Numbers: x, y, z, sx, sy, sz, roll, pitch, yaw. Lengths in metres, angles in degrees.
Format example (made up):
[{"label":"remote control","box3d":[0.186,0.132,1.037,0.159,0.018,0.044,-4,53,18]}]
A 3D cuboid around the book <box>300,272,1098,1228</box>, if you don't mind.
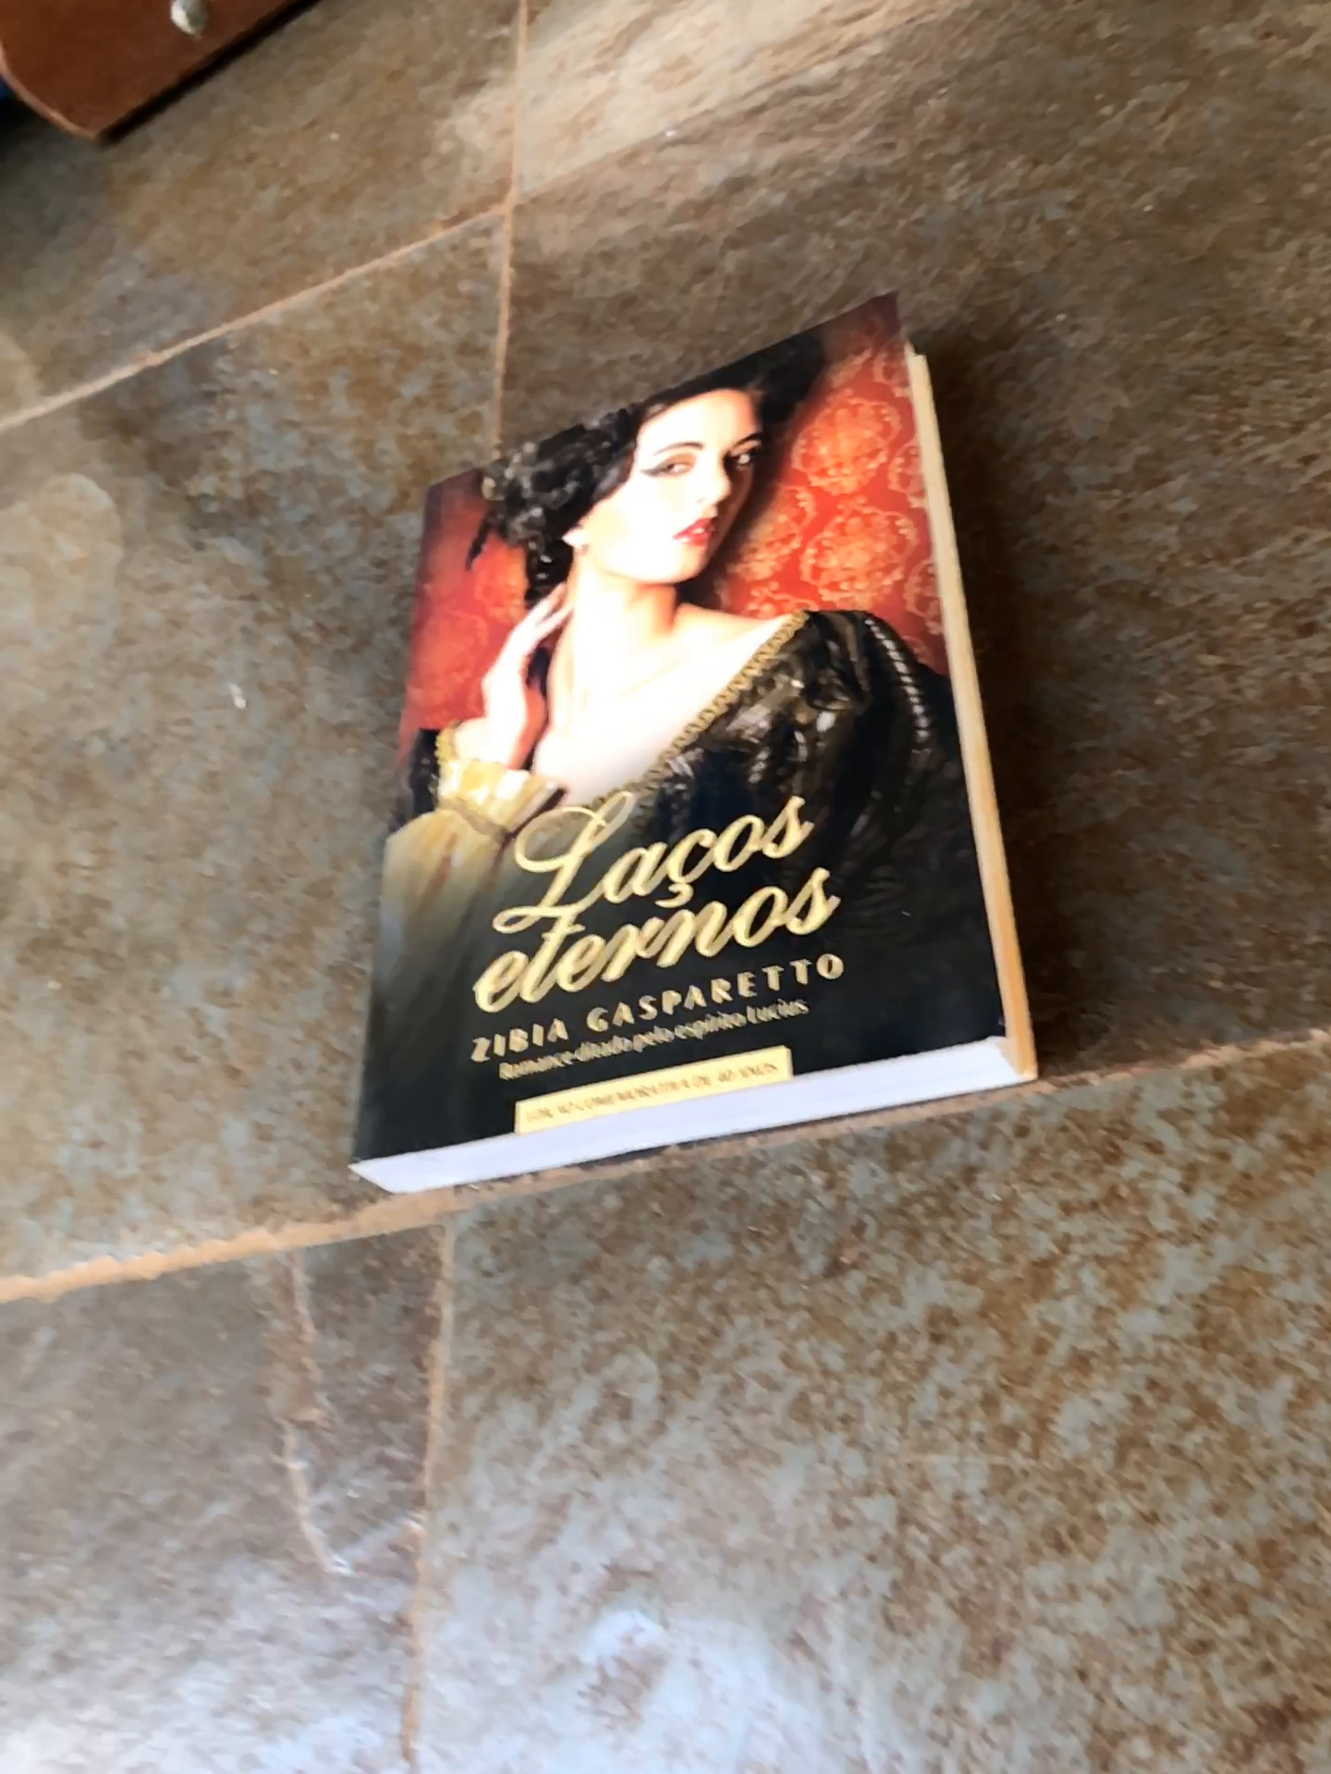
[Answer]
[{"label":"book","box3d":[0.000,-0.037,0.336,0.153,0.027,0.205,-14,55,20]}]
